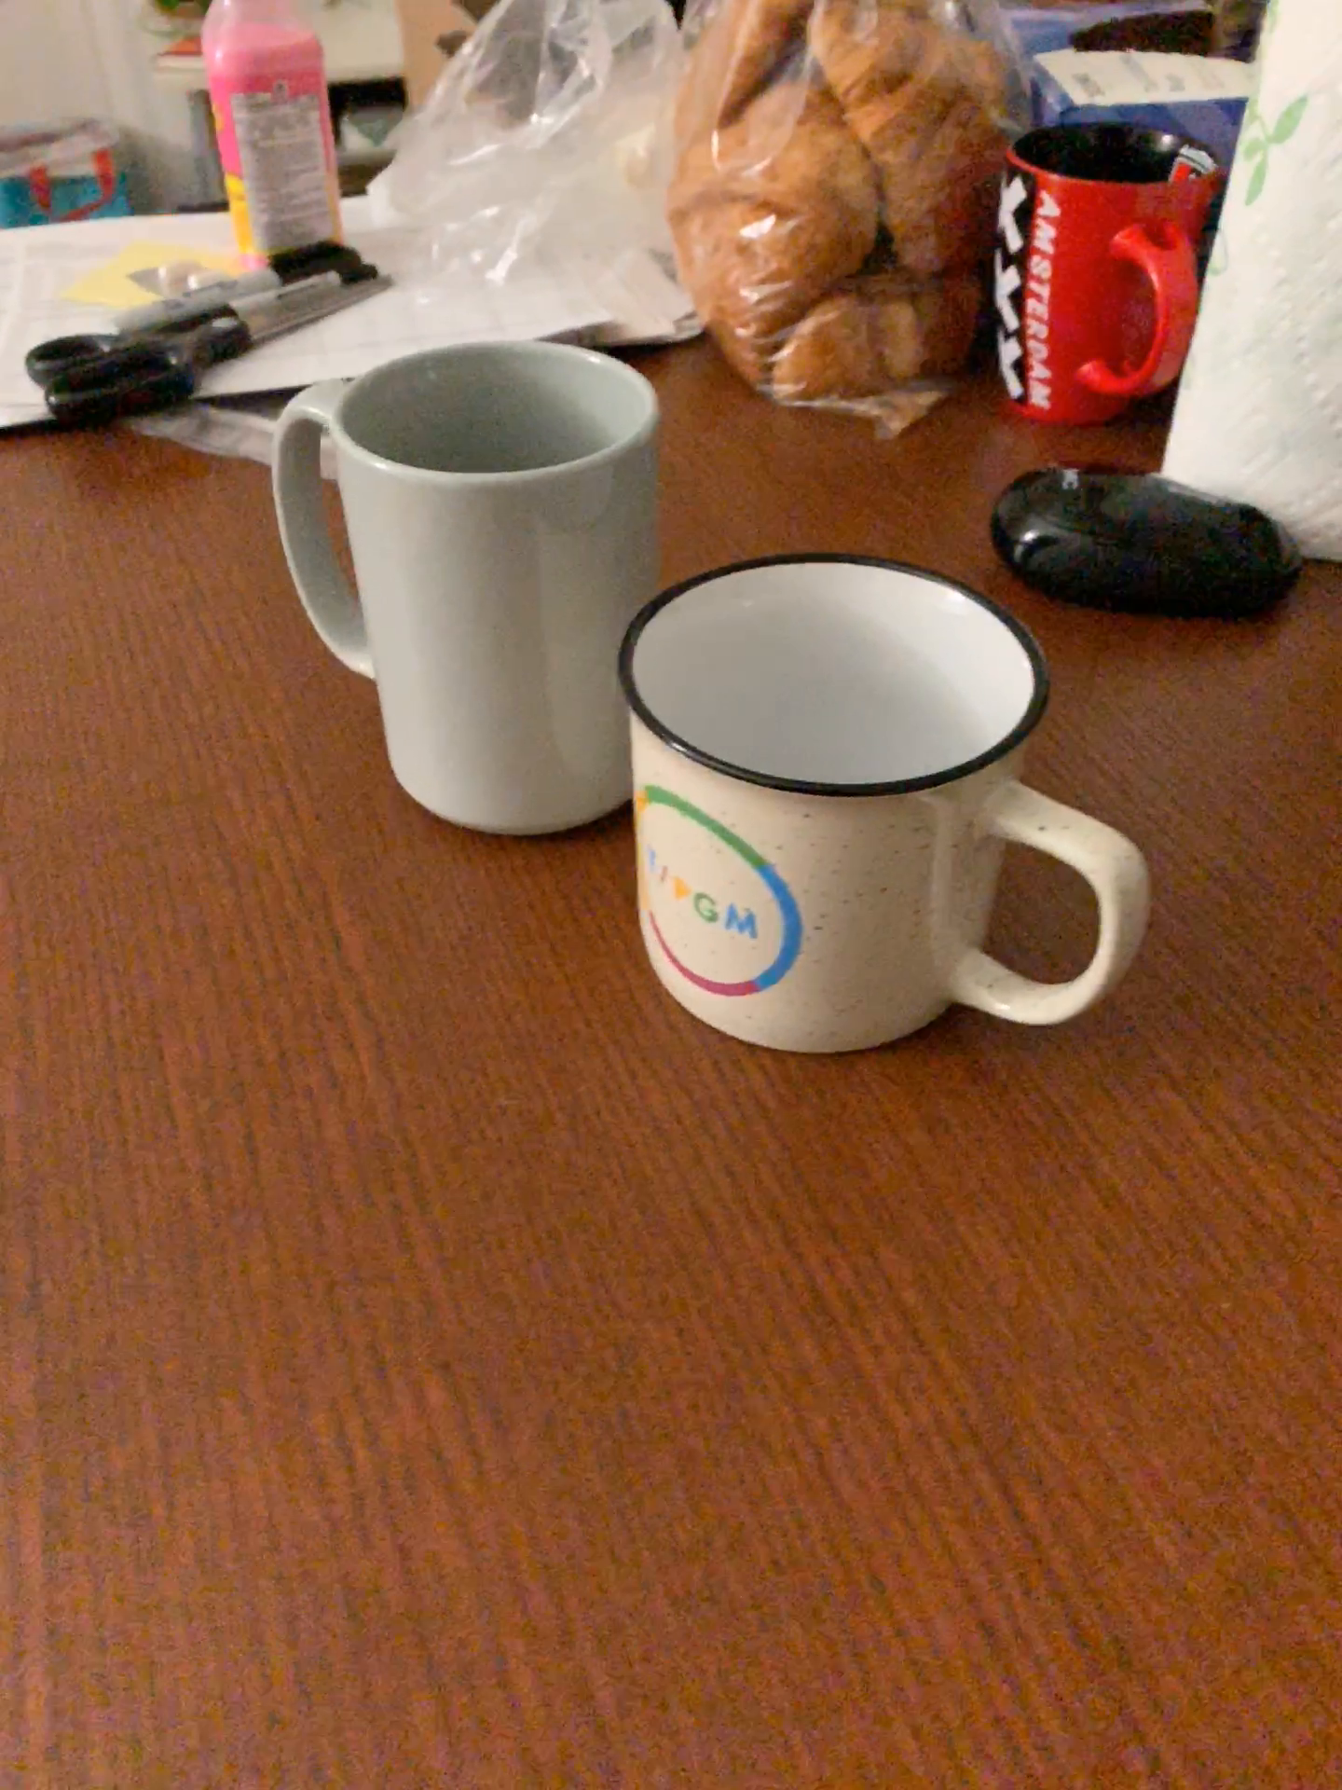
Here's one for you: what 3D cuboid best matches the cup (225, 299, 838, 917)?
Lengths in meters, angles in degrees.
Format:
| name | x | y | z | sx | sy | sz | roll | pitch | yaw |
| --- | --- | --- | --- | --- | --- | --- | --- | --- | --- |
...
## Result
| name | x | y | z | sx | sy | sz | roll | pitch | yaw |
| --- | --- | --- | --- | --- | --- | --- | --- | --- | --- |
| cup | -0.041 | -0.089 | 0.398 | 0.100 | 0.099 | 0.141 | -28 | 49 | -27 |

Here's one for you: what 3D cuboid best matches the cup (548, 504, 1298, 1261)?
| name | x | y | z | sx | sy | sz | roll | pitch | yaw |
| --- | --- | --- | --- | --- | --- | --- | --- | --- | --- |
| cup | 0.051 | -0.010 | 0.338 | 0.100 | 0.099 | 0.131 | -27 | 49 | -27 |
